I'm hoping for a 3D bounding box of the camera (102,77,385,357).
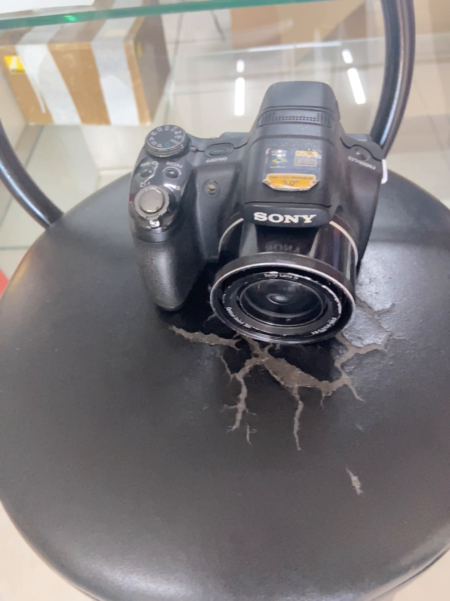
[{"bbox_3d":[0.016,-0.041,0.225,0.100,0.080,0.100,4,53,11],"label":"camera"}]
